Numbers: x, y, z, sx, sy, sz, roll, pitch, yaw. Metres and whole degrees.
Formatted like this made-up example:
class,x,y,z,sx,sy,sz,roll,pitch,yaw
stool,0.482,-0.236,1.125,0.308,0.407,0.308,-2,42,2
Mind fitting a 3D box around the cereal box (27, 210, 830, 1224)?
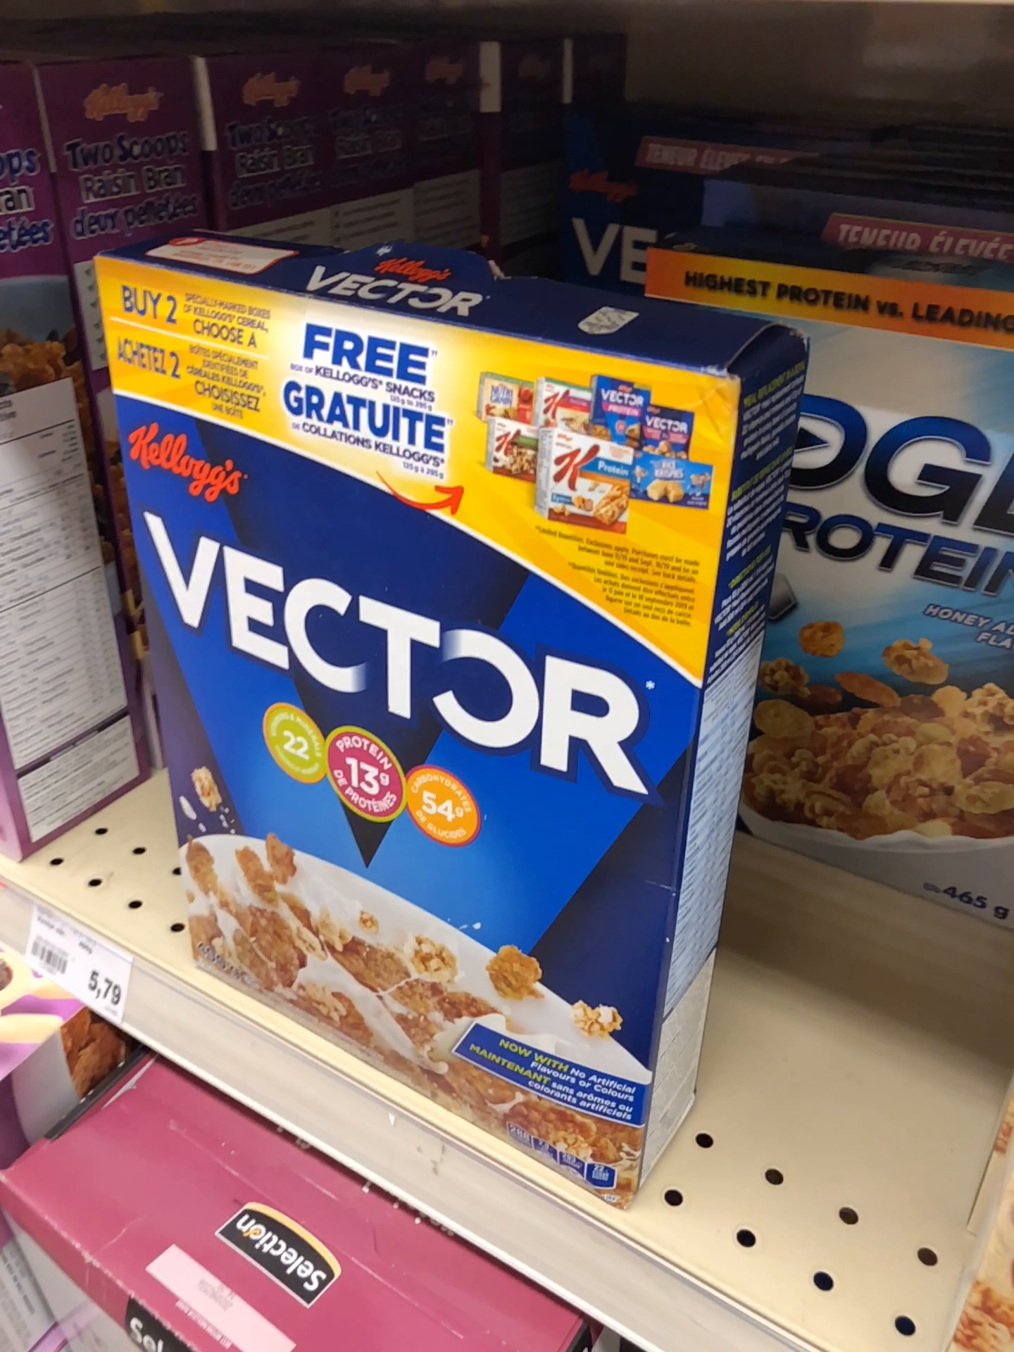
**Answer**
class,x,y,z,sx,sy,sz,roll,pitch,yaw
cereal box,-0.029,0.014,0.347,0.201,0.268,0.060,19,36,27
